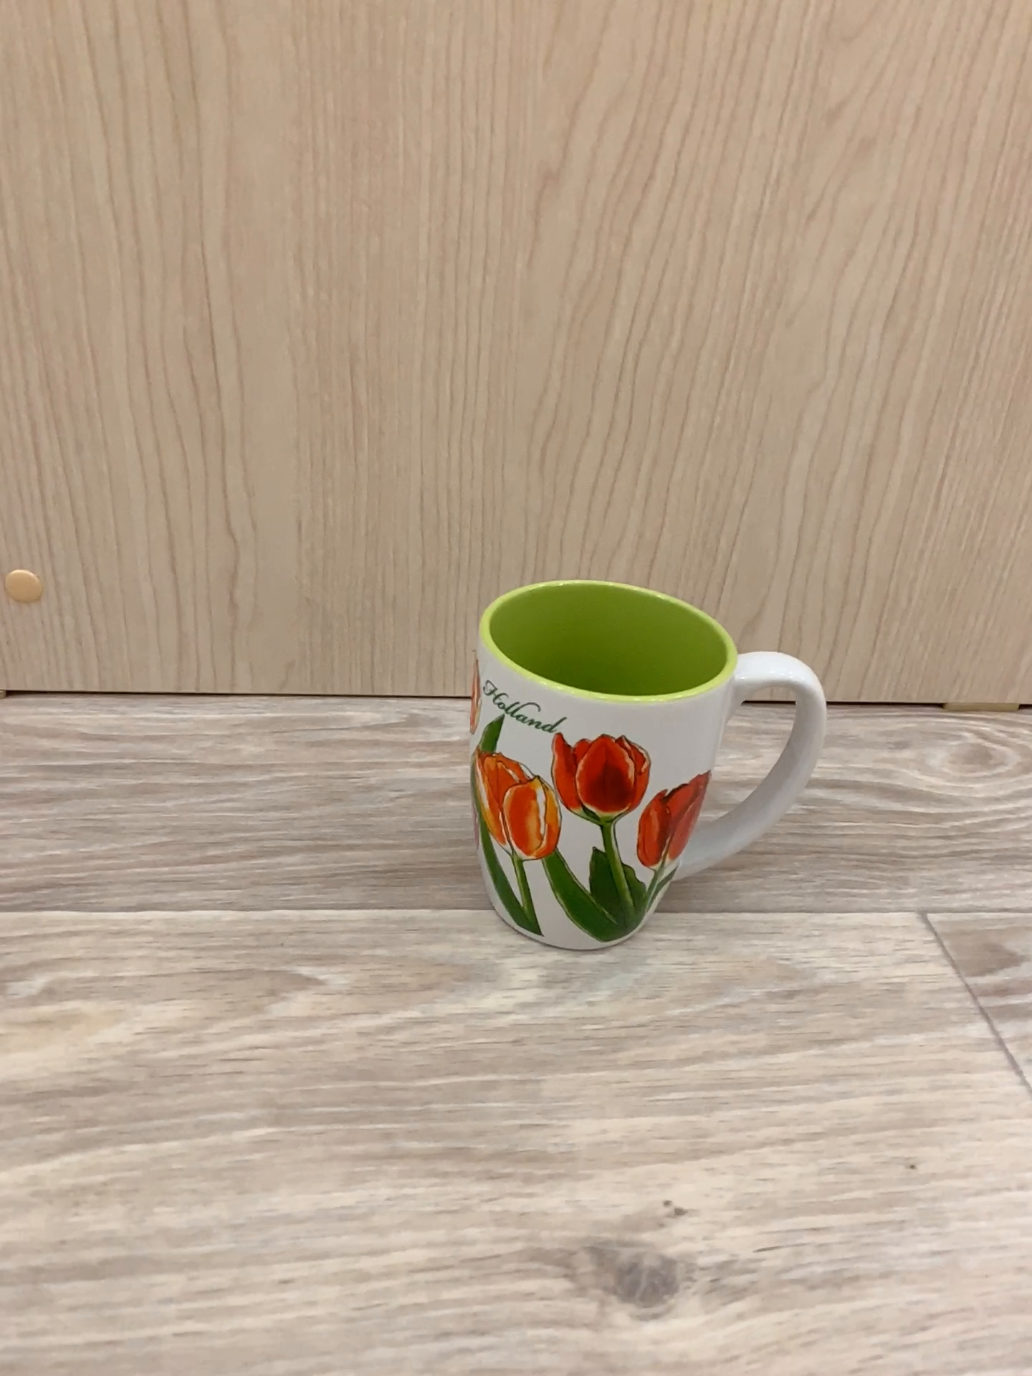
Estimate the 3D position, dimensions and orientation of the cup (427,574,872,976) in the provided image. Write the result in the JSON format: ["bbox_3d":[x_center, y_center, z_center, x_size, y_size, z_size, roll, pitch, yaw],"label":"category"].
[{"bbox_3d":[0.037,0.025,0.367,0.118,0.101,0.084,-2,30,-14],"label":"cup"}]
